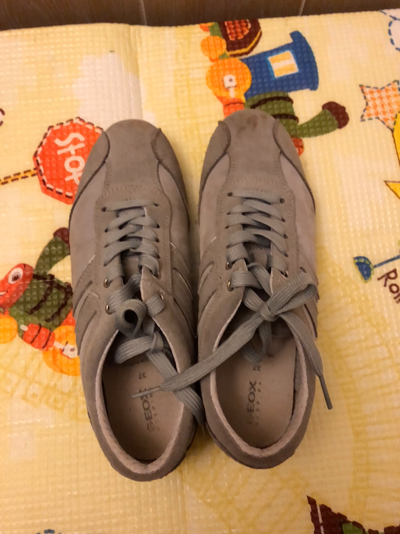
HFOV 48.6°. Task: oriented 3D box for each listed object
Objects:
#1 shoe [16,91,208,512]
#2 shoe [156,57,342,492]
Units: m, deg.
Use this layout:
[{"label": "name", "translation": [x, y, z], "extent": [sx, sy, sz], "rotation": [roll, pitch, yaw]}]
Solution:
[{"label": "shoe", "translation": [-0.054, 0.020, 0.311], "extent": [0.090, 0.120, 0.230], "rotation": [-7, 80, -1]}, {"label": "shoe", "translation": [0.030, 0.004, 0.295], "extent": [0.090, 0.120, 0.230], "rotation": [3, 80, 1]}]
